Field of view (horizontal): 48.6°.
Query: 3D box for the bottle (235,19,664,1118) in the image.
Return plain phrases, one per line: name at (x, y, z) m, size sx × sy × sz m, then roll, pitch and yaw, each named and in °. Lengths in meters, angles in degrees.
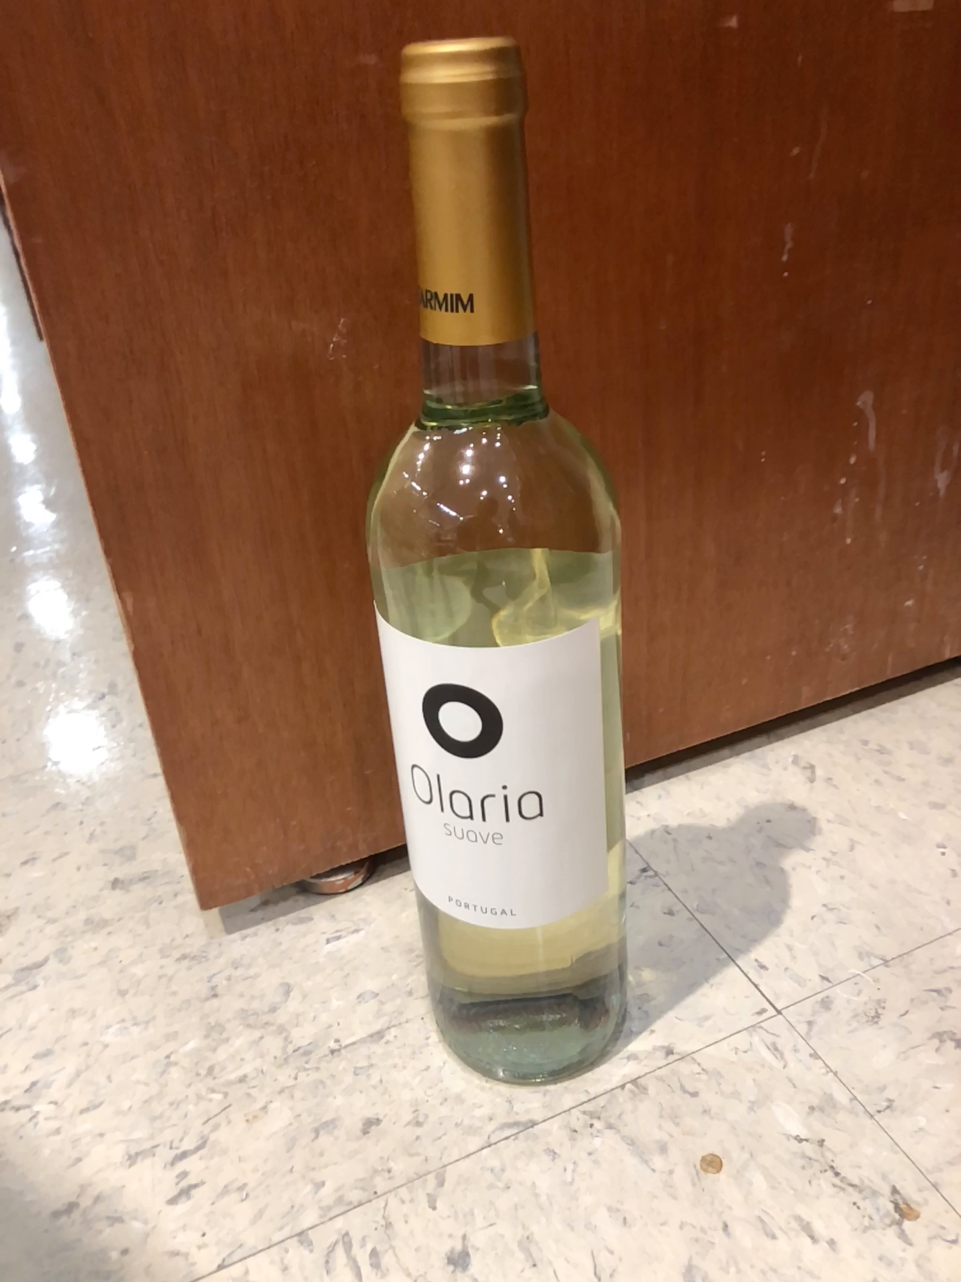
bottle at (0.009, 0.002, 0.318) m, size 0.080 × 0.318 × 0.070 m, roll 4°, pitch 31°, yaw 16°
